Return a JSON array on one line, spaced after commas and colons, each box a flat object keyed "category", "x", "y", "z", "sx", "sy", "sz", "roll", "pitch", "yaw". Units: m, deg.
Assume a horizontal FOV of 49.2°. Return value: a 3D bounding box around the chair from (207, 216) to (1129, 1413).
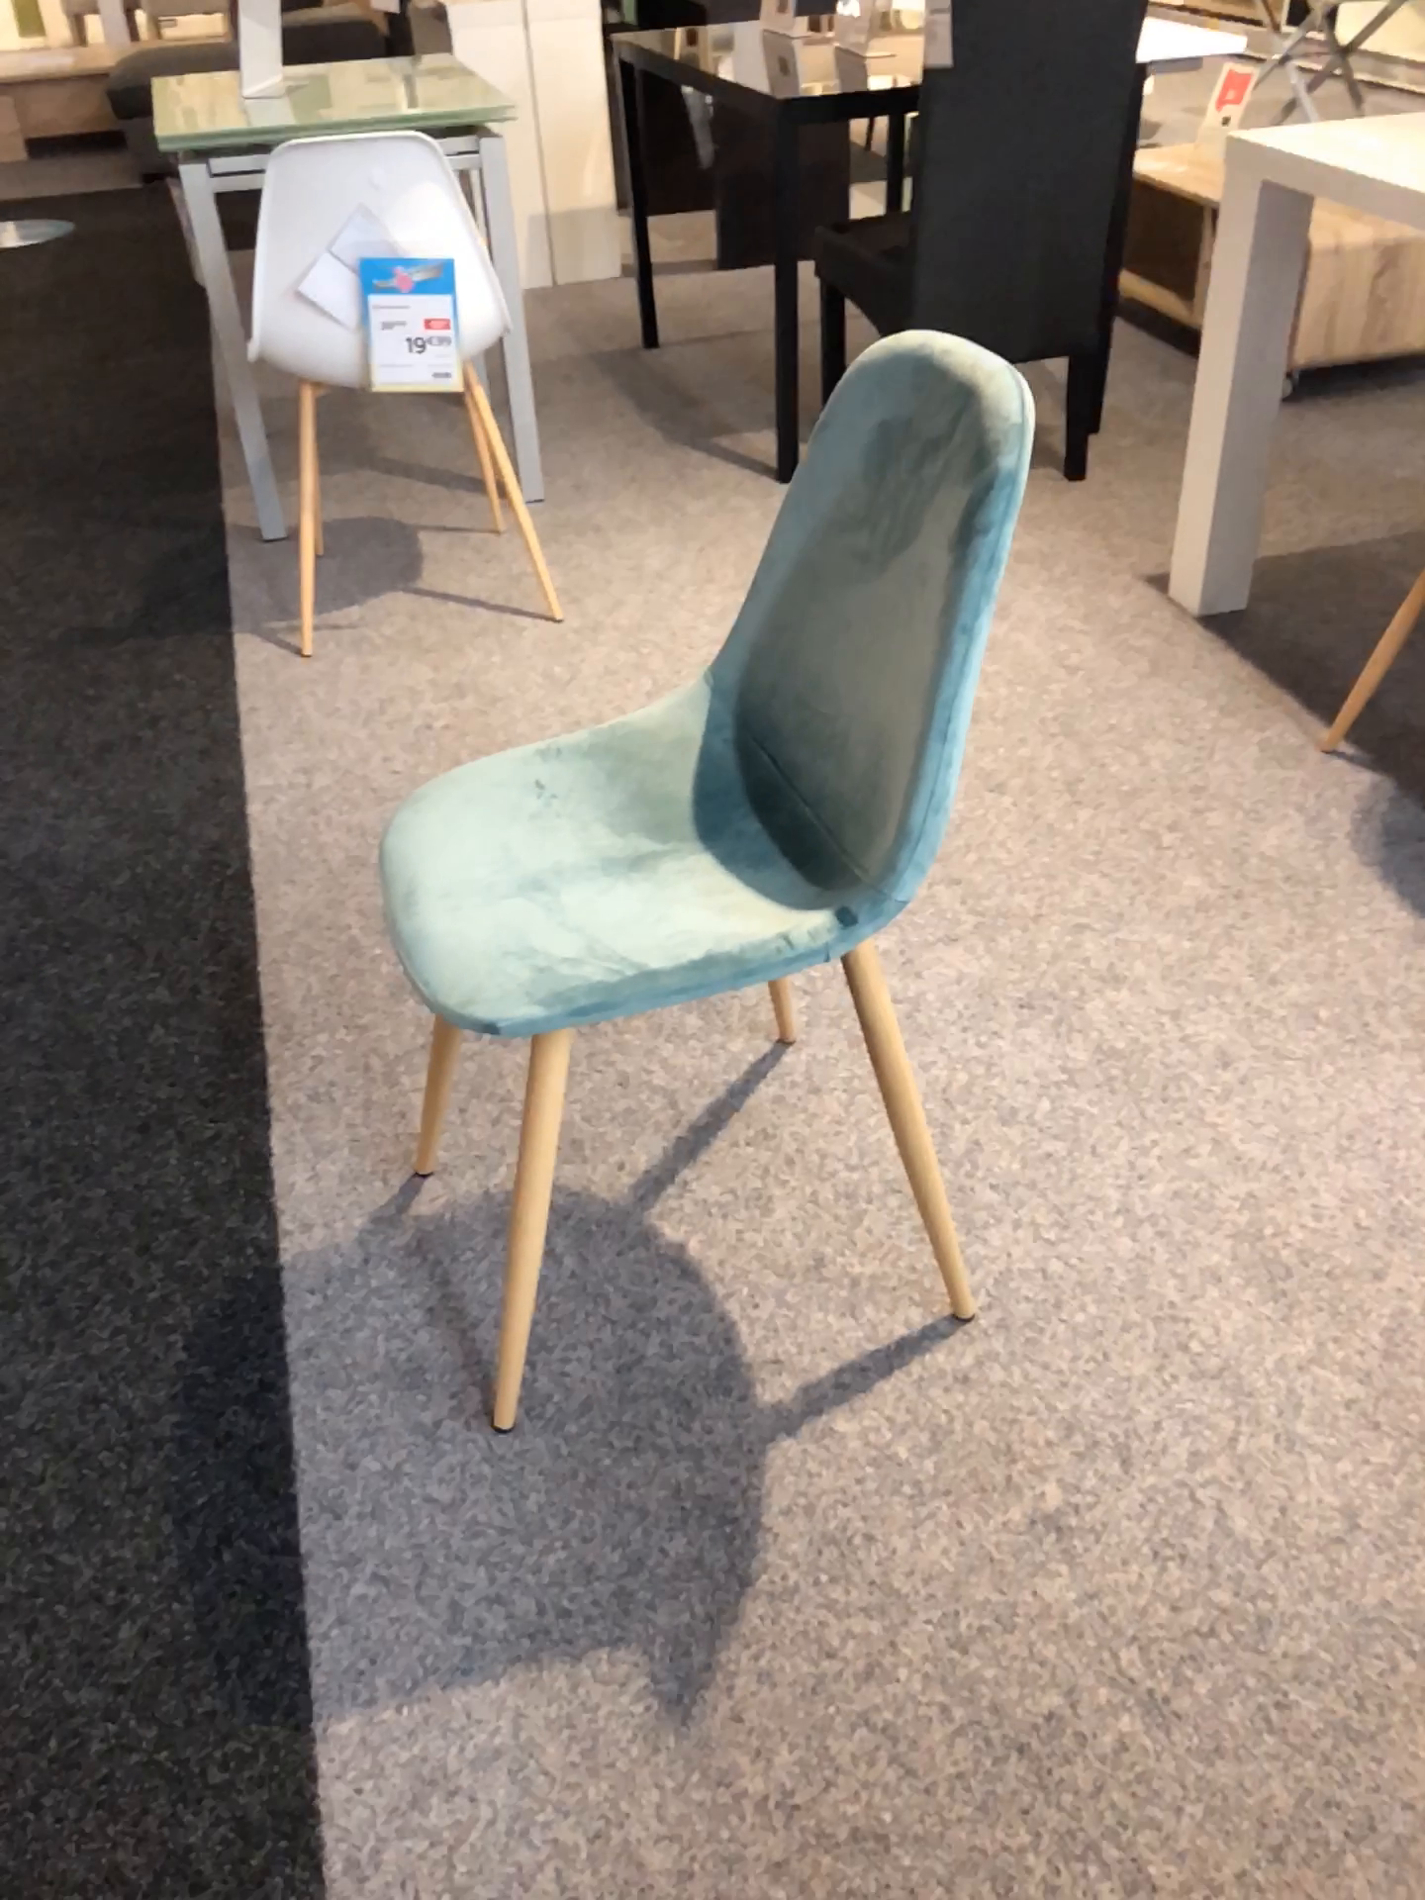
[{"category": "chair", "x": -0.054, "y": -0.122, "z": 1.370, "sx": 0.551, "sy": 0.835, "sz": 0.472, "roll": -13, "pitch": 37, "yaw": -15}]
